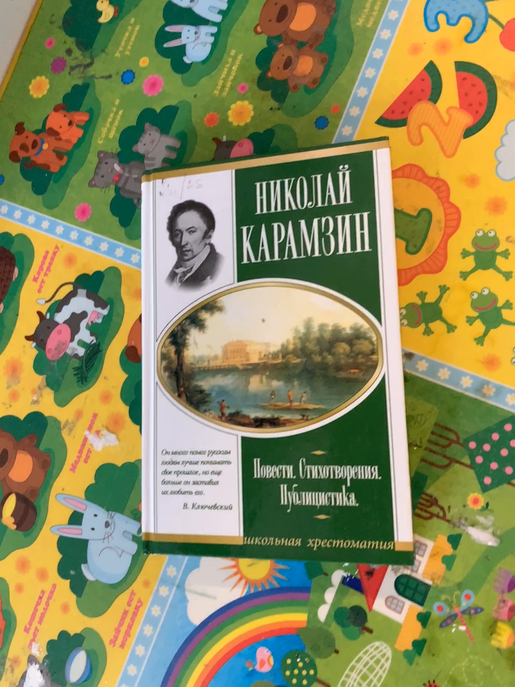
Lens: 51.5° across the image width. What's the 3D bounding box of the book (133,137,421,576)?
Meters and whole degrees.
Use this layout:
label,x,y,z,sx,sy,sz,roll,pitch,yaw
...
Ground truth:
label,x,y,z,sx,sy,sz,roll,pitch,yaw
book,0.004,0.006,0.265,0.136,0.020,0.197,-3,83,15
